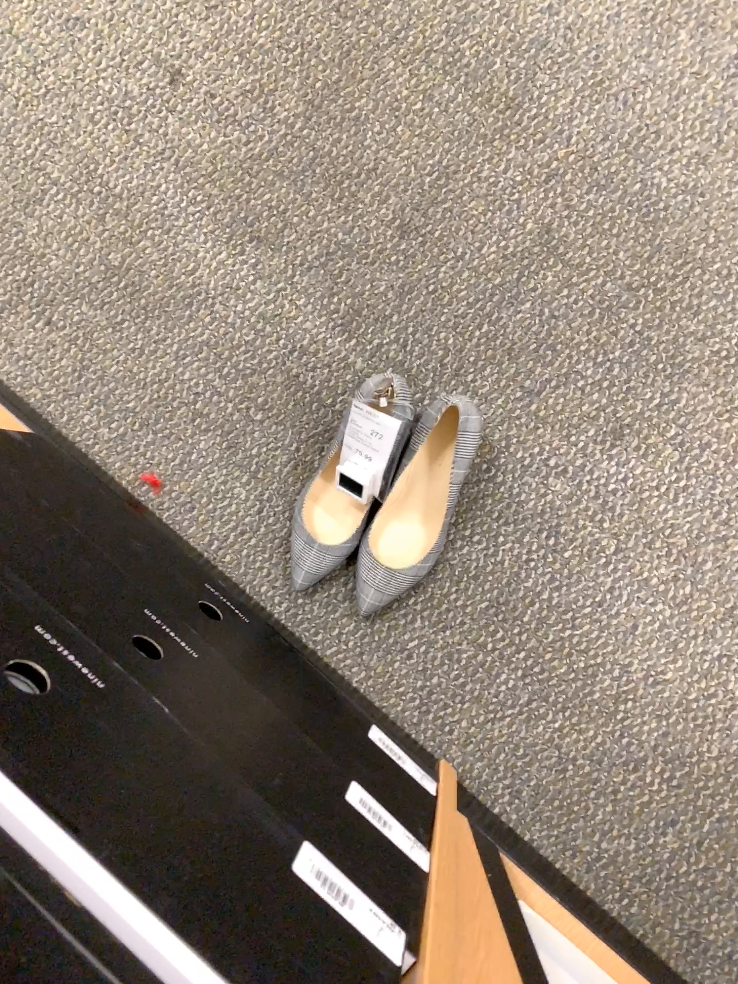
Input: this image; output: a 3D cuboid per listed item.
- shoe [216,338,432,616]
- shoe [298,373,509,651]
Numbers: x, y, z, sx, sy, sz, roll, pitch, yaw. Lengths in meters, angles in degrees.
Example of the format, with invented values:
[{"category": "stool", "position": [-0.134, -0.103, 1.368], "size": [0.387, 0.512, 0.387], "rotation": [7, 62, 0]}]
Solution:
[{"category": "shoe", "position": [-0.035, -0.012, 0.738], "size": [0.090, 0.150, 0.230], "rotation": [28, 93, 7]}, {"category": "shoe", "position": [0.039, 0.019, 0.737], "size": [0.090, 0.150, 0.230], "rotation": [28, 93, 7]}]
